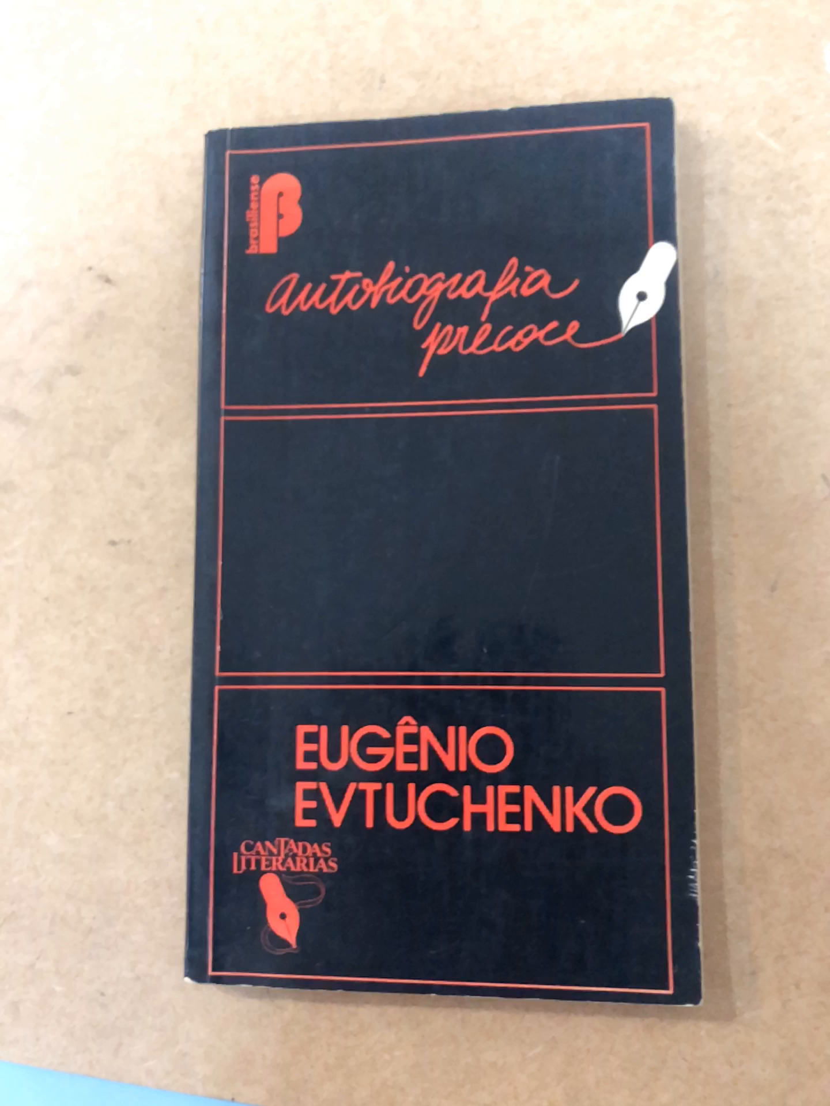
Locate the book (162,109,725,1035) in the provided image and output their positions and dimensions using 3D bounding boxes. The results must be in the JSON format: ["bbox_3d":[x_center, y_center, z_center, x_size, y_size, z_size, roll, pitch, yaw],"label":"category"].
[{"bbox_3d":[0.005,0.000,0.206,0.114,0.016,0.190,-1,83,8],"label":"book"}]
